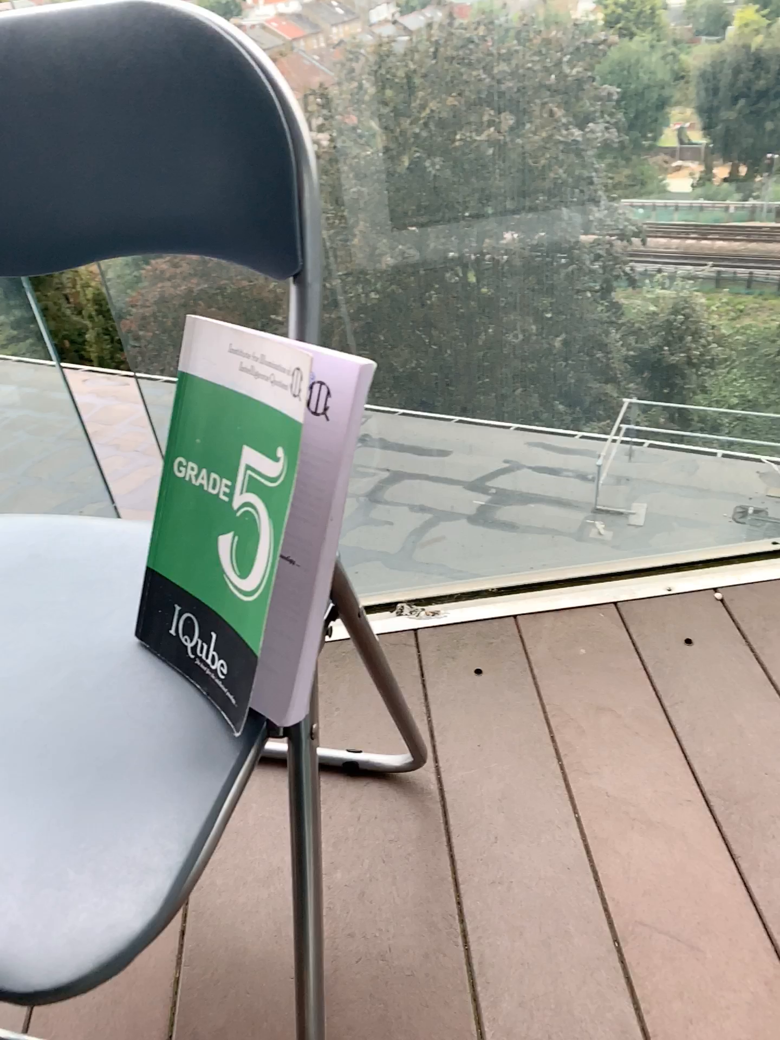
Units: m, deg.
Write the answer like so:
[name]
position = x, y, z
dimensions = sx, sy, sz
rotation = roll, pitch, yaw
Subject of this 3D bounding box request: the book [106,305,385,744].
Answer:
[book]
position = -0.093, -0.006, 0.462
dimensions = 0.151, 0.209, 0.040
rotation = 24, 14, 41
